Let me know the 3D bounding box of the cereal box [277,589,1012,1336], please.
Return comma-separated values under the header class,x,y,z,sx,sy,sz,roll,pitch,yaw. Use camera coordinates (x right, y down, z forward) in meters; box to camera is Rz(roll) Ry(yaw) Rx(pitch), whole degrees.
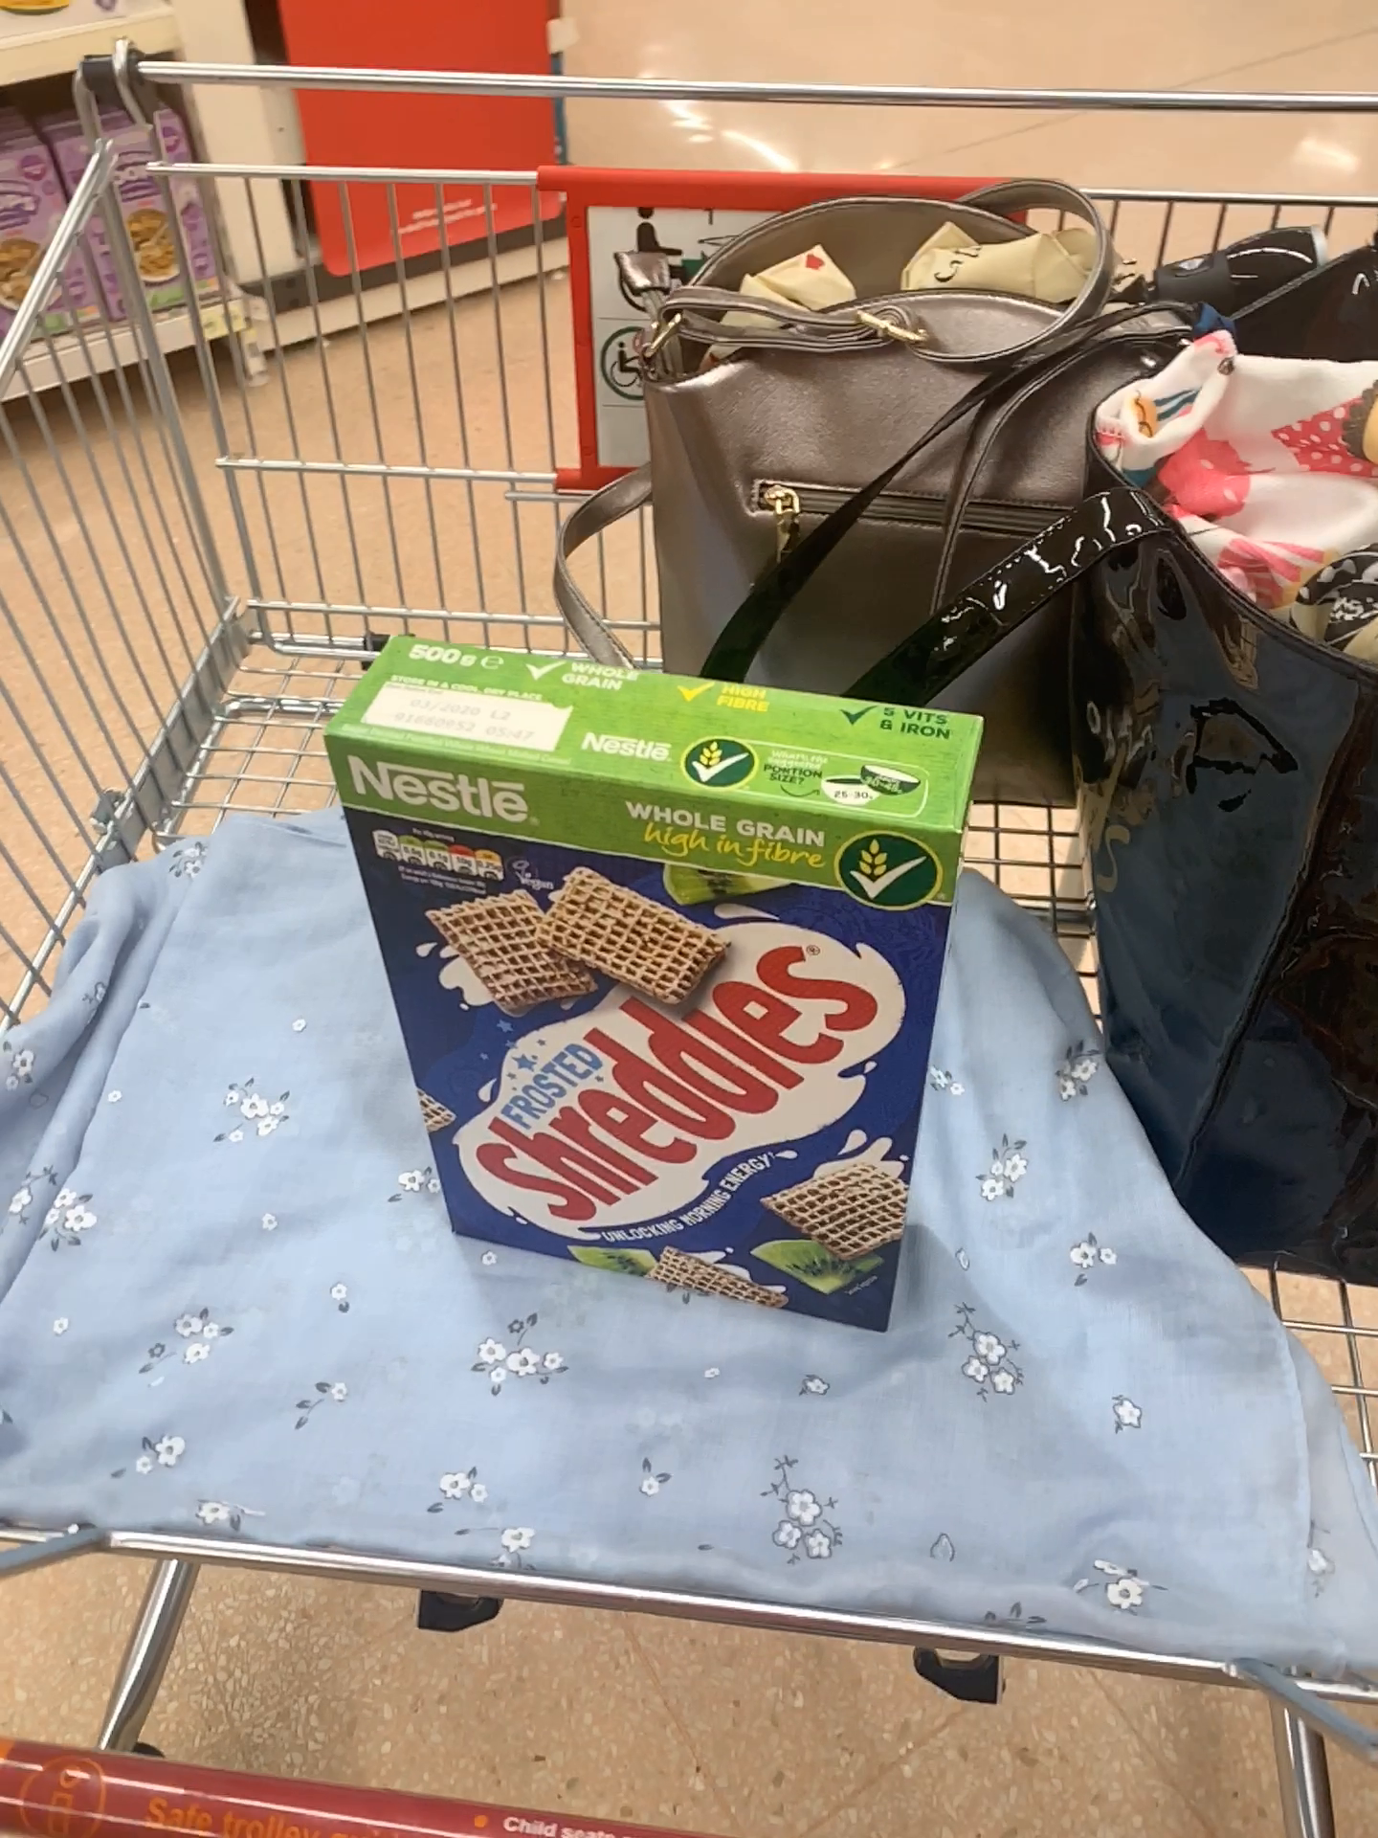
class,x,y,z,sx,sy,sz,roll,pitch,yaw
cereal box,-0.011,0.034,0.505,0.200,0.288,0.060,10,48,9
